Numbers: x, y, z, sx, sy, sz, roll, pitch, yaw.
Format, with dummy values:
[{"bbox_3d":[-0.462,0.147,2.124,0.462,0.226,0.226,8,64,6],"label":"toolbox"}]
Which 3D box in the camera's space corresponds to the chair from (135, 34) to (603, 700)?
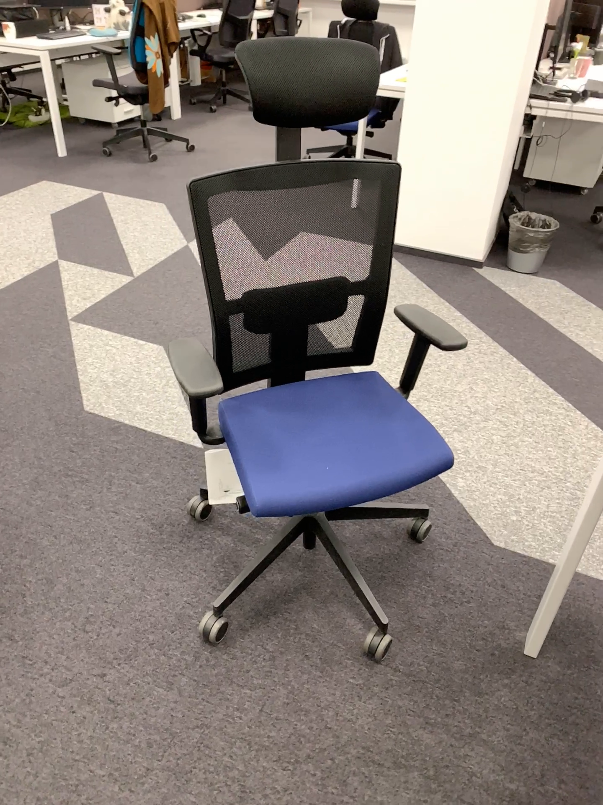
[{"bbox_3d":[0.086,-0.061,1.382,0.730,1.243,0.673,-7,37,-12],"label":"chair"}]
